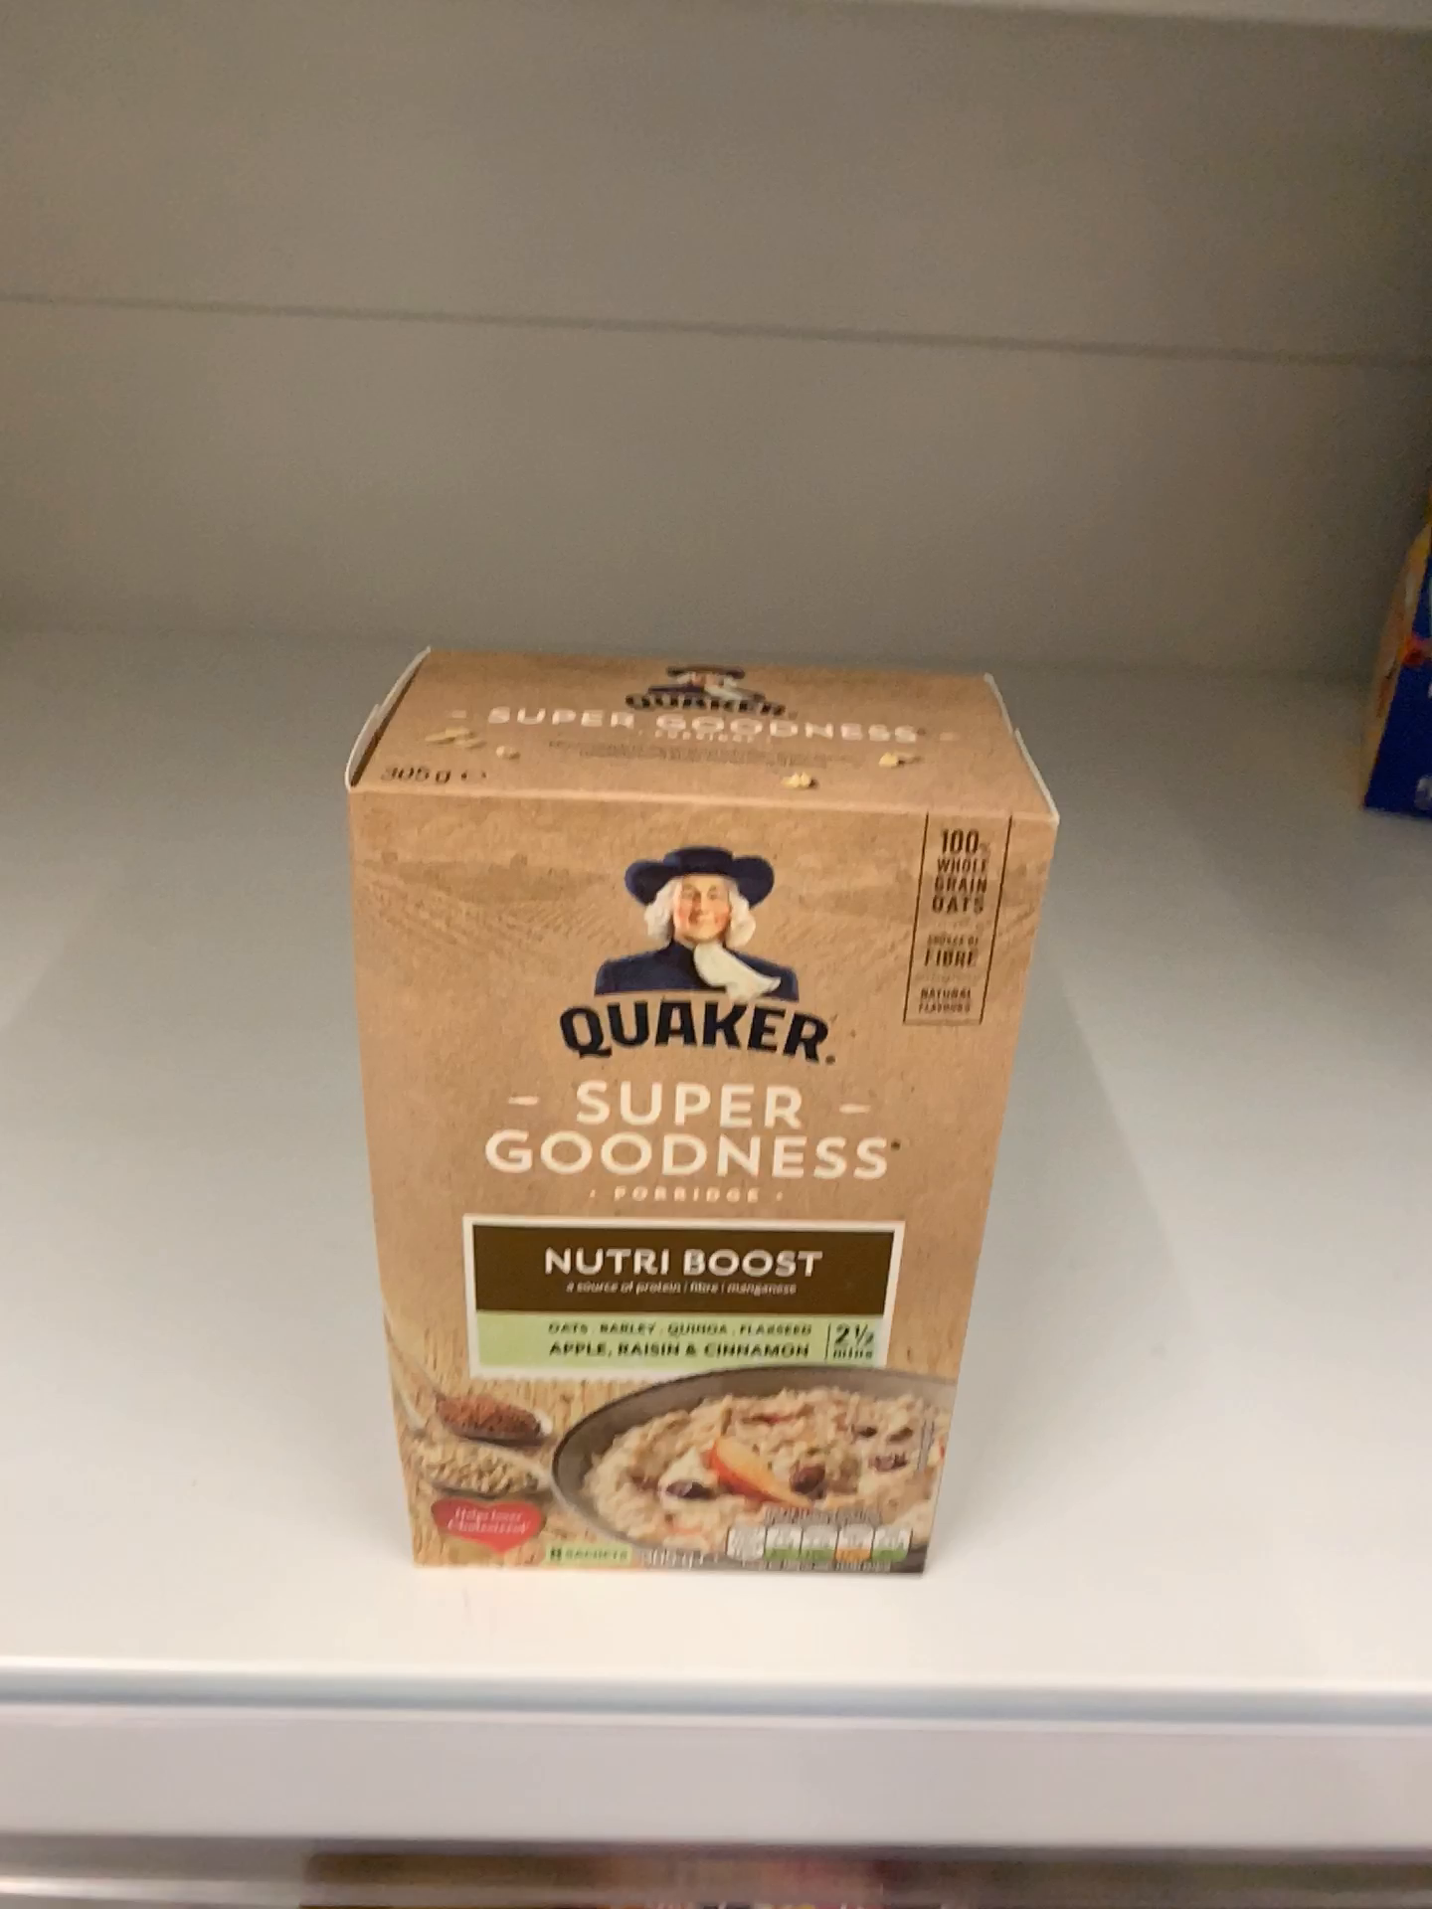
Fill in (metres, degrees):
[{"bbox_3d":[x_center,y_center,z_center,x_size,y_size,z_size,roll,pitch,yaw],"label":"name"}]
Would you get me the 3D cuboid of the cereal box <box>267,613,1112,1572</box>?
[{"bbox_3d":[-0.009,0.037,0.324,0.140,0.198,0.071,2,29,-2],"label":"cereal box"}]
